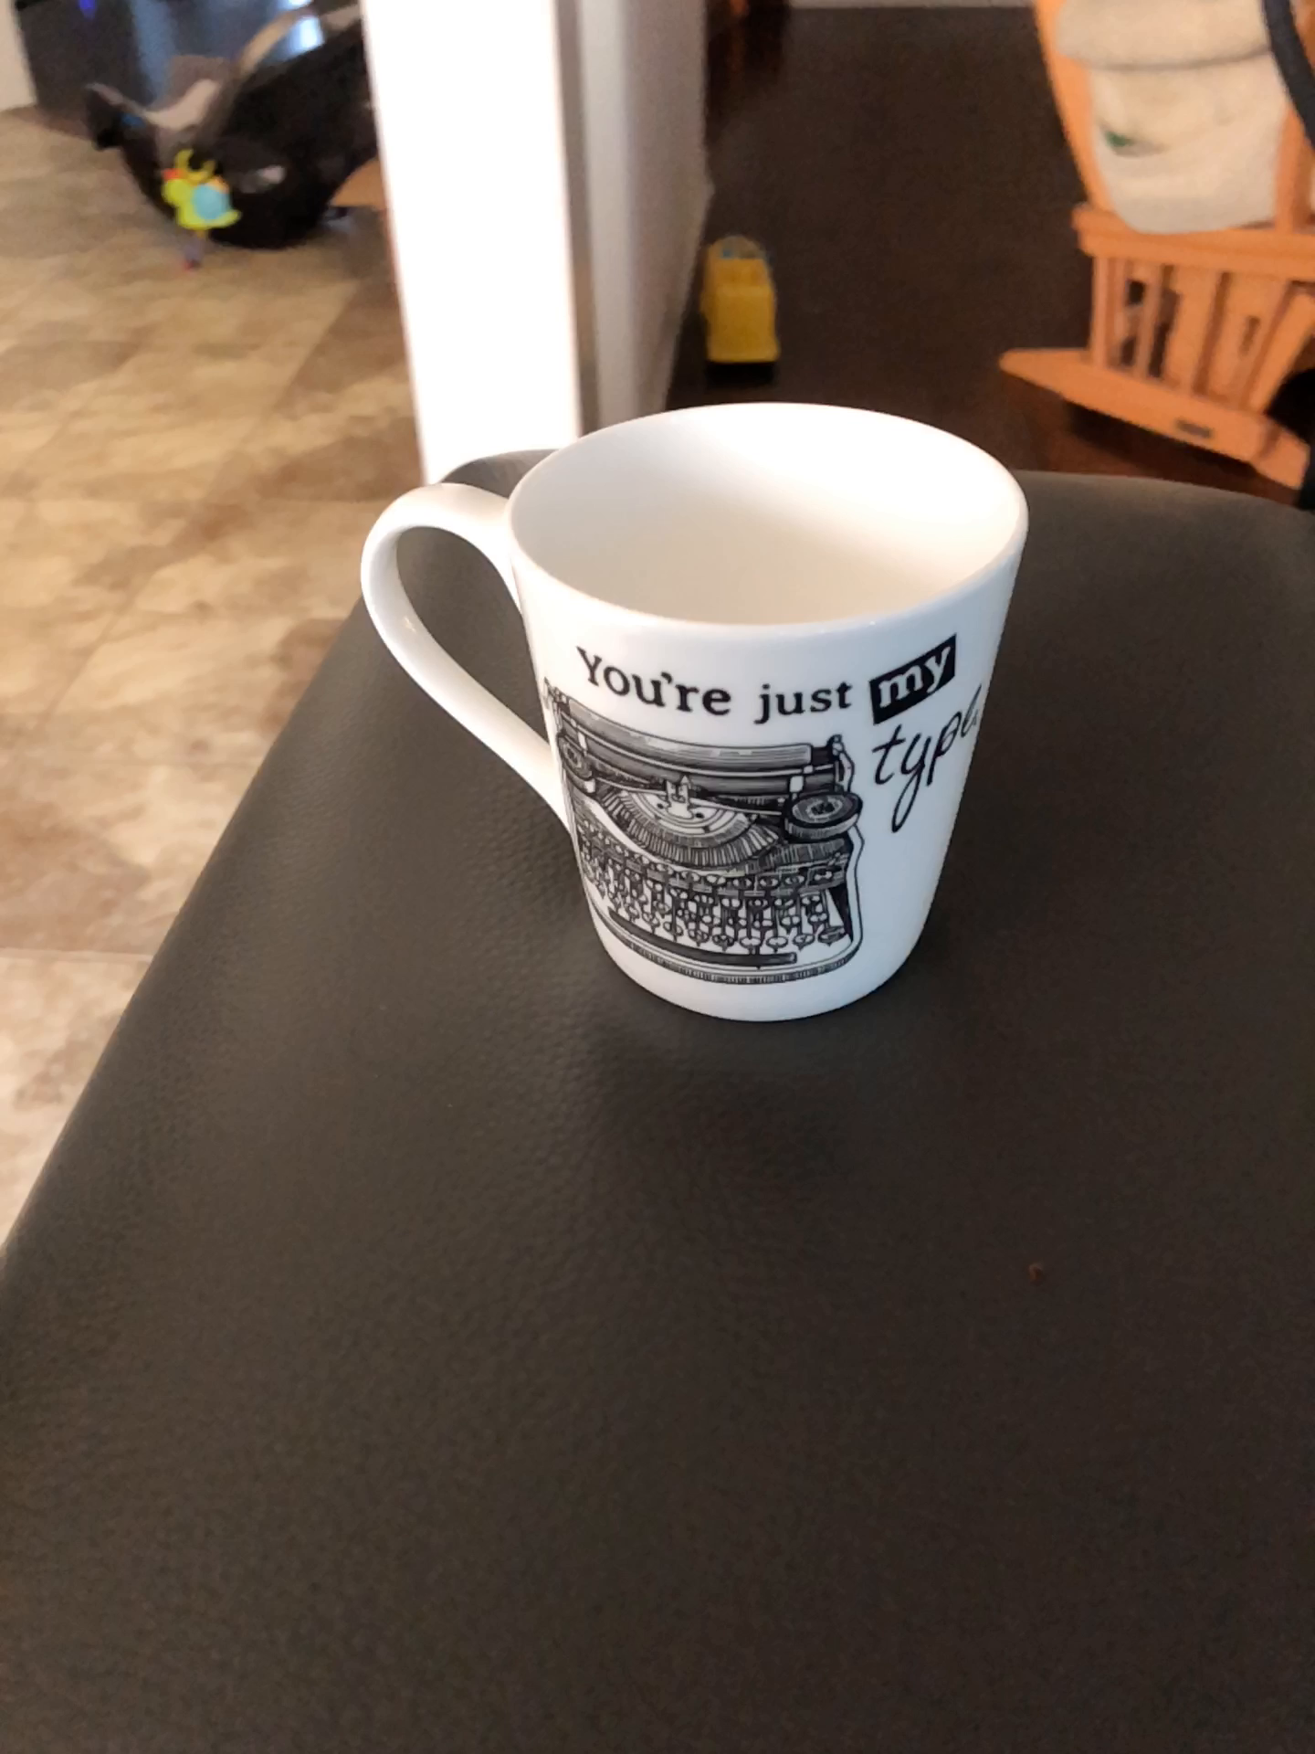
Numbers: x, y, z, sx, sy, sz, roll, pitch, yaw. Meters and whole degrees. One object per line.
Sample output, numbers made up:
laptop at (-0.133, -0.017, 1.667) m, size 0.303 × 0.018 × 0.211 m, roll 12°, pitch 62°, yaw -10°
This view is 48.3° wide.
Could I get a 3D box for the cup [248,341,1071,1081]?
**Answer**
cup at (0.005, -0.036, 0.275) m, size 0.117 × 0.089 × 0.081 m, roll 13°, pitch 42°, yaw 17°
